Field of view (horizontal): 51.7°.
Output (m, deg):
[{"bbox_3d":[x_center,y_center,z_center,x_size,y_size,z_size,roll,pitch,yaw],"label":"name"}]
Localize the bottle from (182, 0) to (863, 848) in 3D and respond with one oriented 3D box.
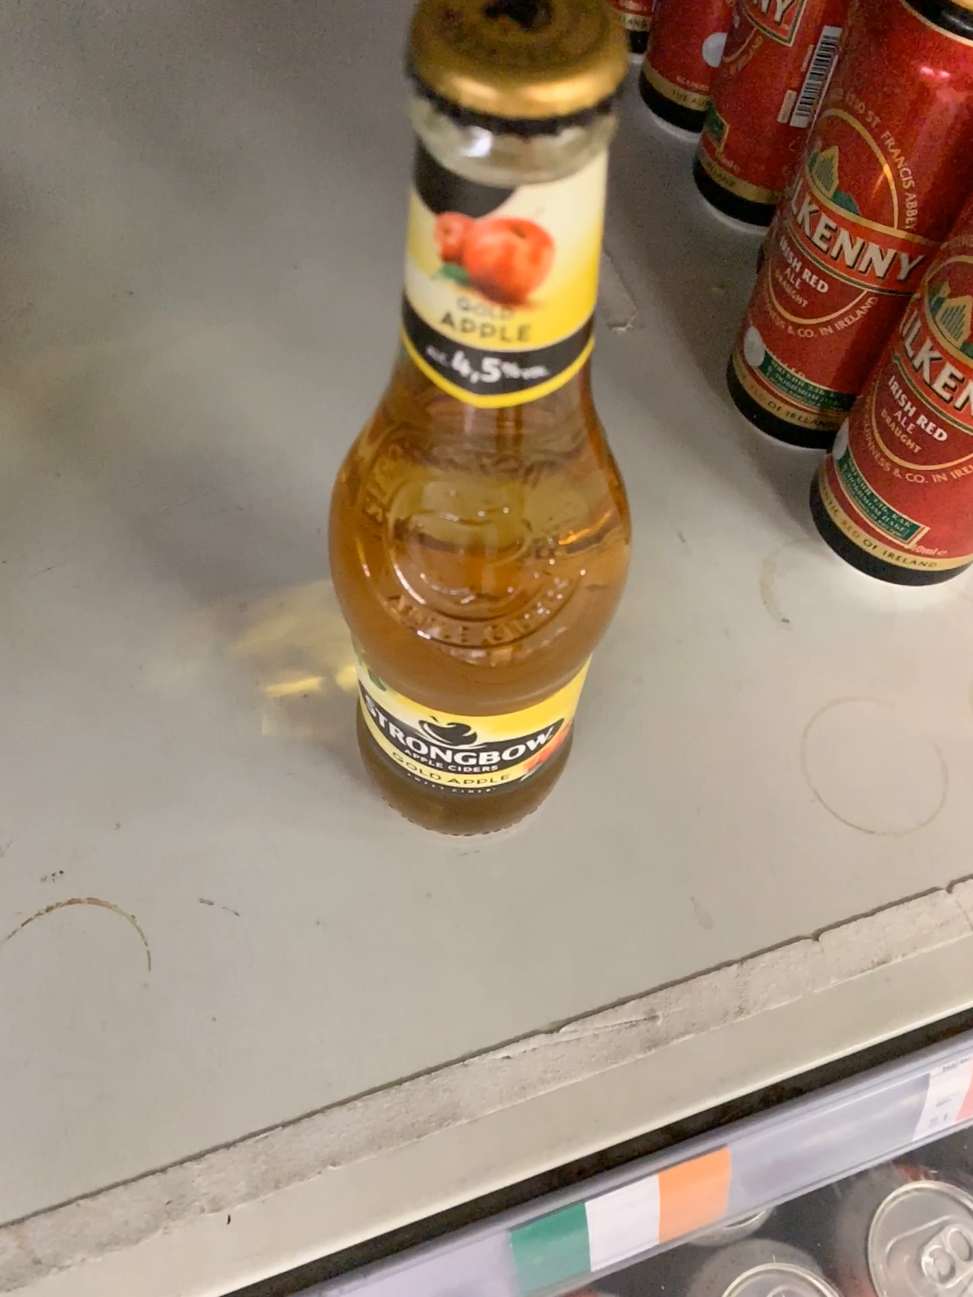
[{"bbox_3d":[0.003,-0.037,0.240,0.080,0.239,0.080,2,60,-4],"label":"bottle"}]
